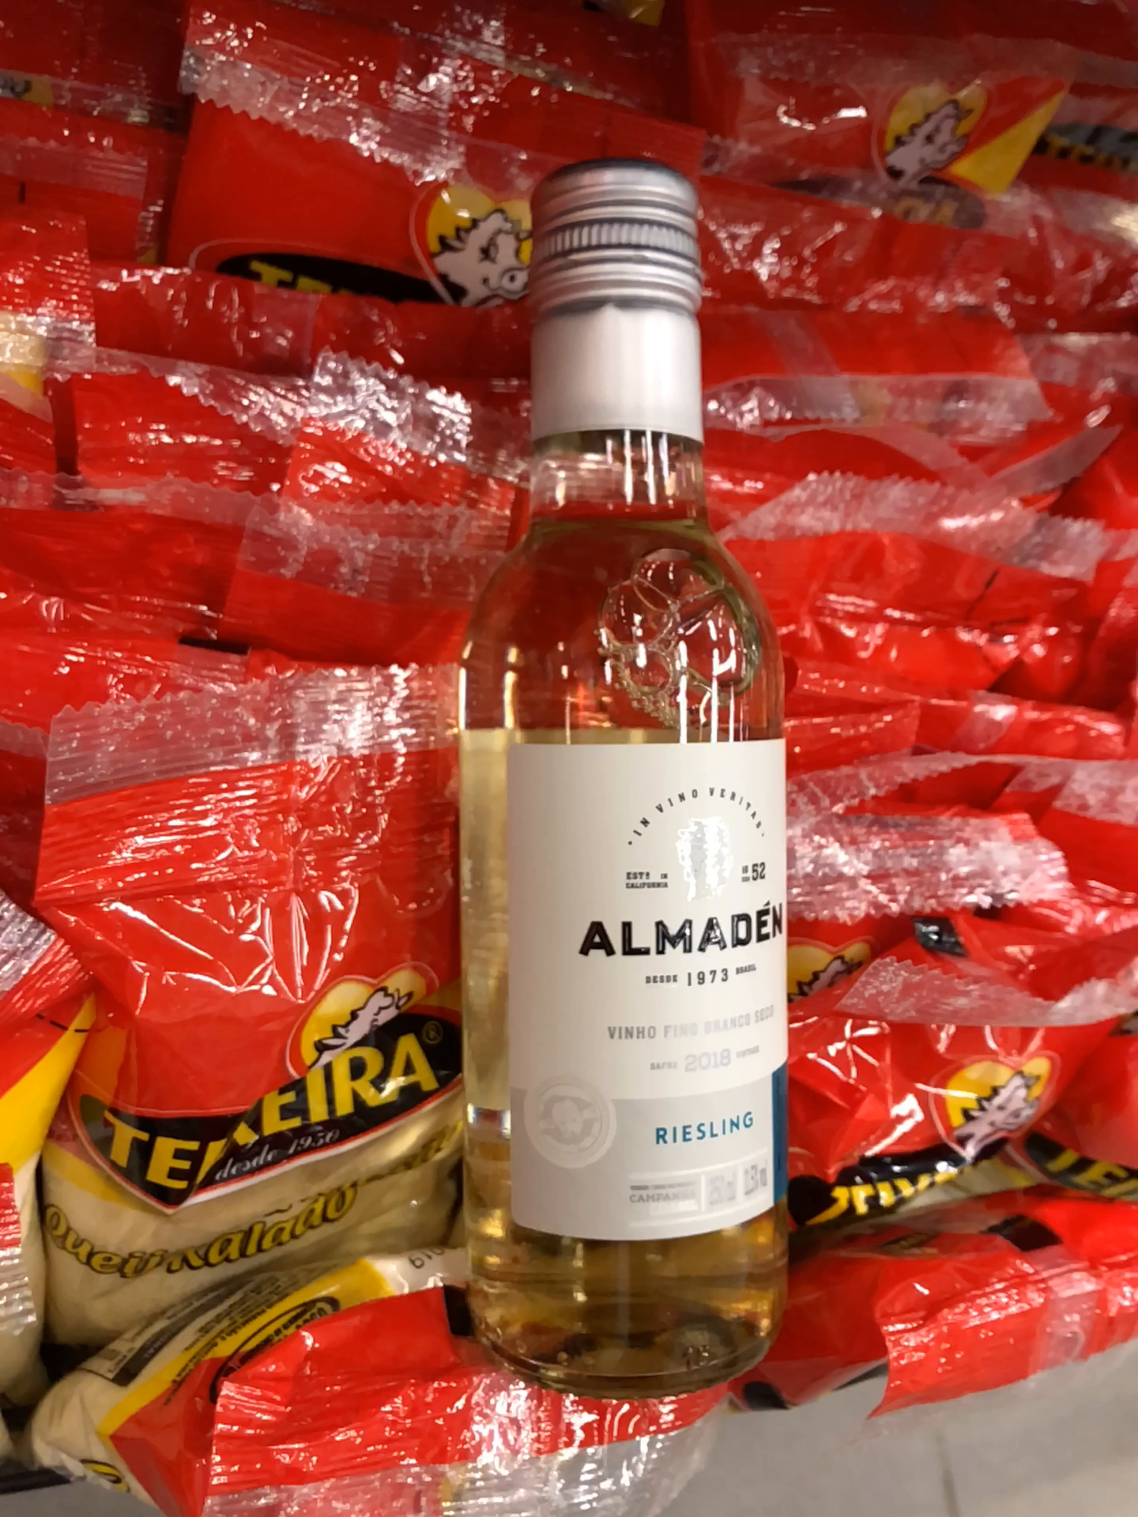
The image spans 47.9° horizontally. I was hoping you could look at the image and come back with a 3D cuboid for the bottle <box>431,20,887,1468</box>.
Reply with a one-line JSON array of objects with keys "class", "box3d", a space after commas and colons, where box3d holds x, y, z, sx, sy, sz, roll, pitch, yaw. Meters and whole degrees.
[{"class": "bottle", "box3d": [0.014, -0.003, 0.216, 0.060, 0.040, 0.210, -1, 89, -24]}]
